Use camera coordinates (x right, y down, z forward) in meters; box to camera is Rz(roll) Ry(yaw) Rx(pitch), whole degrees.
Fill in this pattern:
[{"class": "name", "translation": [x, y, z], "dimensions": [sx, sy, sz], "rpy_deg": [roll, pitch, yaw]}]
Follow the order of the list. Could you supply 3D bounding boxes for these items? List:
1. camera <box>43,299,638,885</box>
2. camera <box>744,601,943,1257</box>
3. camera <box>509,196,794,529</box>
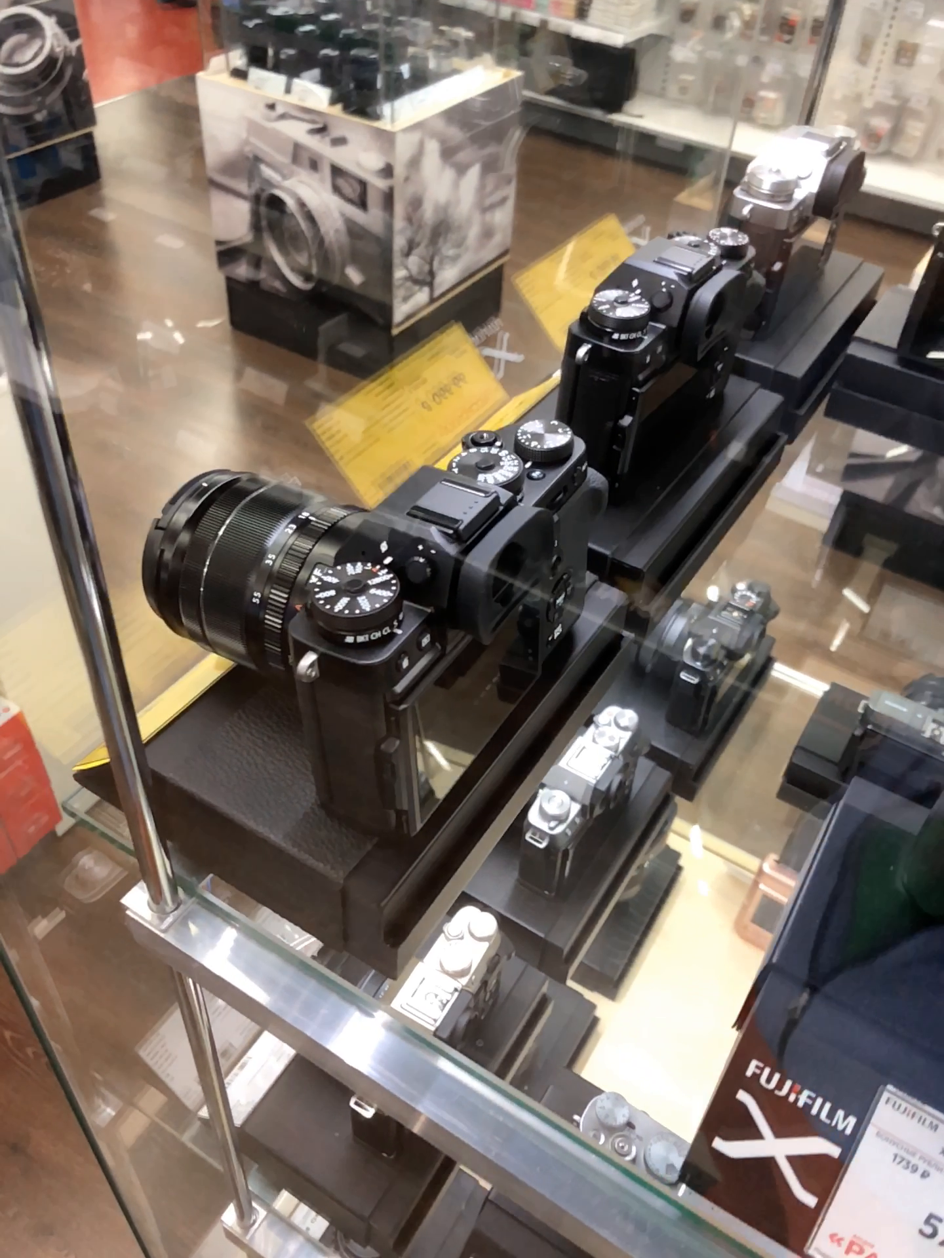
[{"class": "camera", "translation": [-0.035, -0.020, 0.337], "dimensions": [0.119, 0.099, 0.129], "rpy_deg": [24, 46, 19]}, {"class": "camera", "translation": [0.157, 0.082, 0.254], "dimensions": [0.125, 0.088, 0.116], "rpy_deg": [26, 47, 21]}, {"class": "camera", "translation": [0.080, -0.123, 0.466], "dimensions": [0.066, 0.088, 0.126], "rpy_deg": [25, 46, 20]}]
